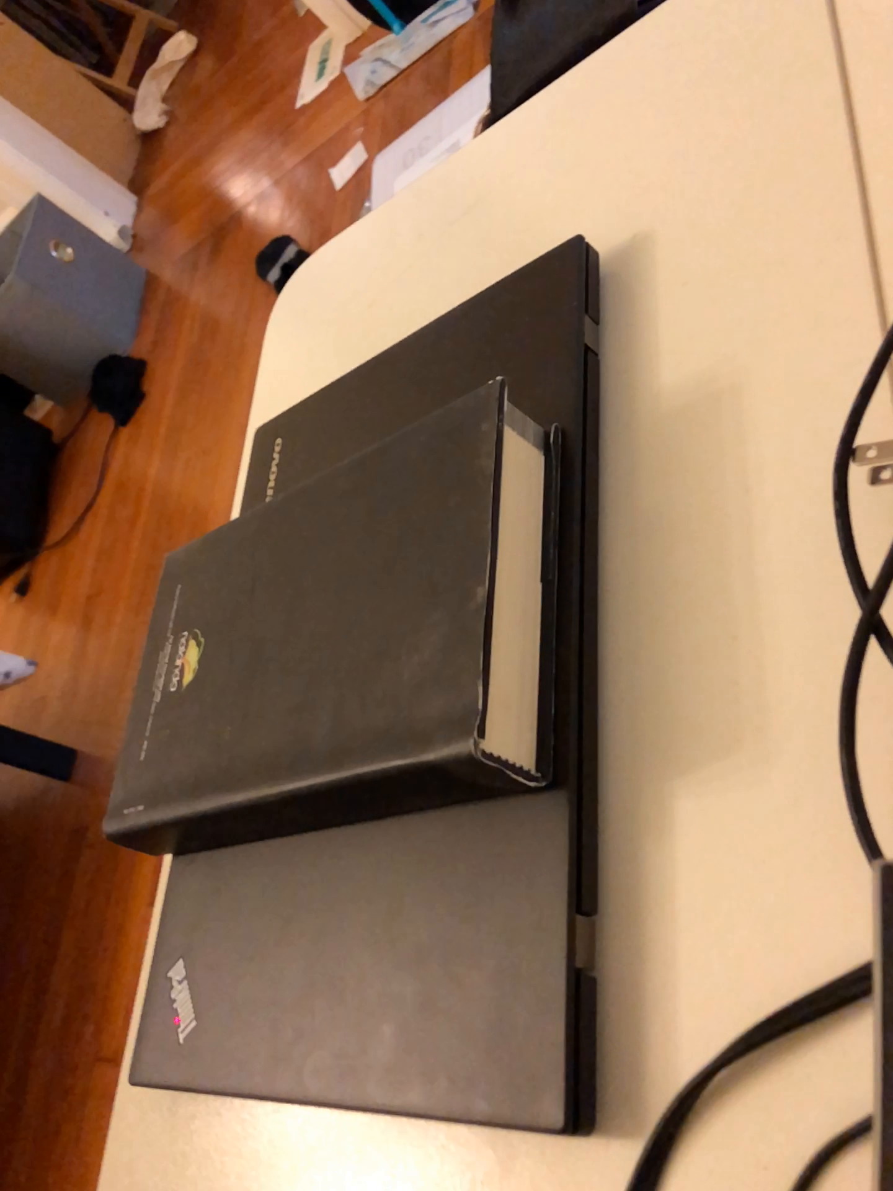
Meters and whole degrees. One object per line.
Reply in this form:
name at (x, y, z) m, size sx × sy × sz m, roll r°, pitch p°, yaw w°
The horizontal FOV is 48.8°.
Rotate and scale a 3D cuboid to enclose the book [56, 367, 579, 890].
book at (-0.057, 0.026, 0.381) m, size 0.230 × 0.040 × 0.150 m, roll -18°, pitch 55°, yaw 39°
